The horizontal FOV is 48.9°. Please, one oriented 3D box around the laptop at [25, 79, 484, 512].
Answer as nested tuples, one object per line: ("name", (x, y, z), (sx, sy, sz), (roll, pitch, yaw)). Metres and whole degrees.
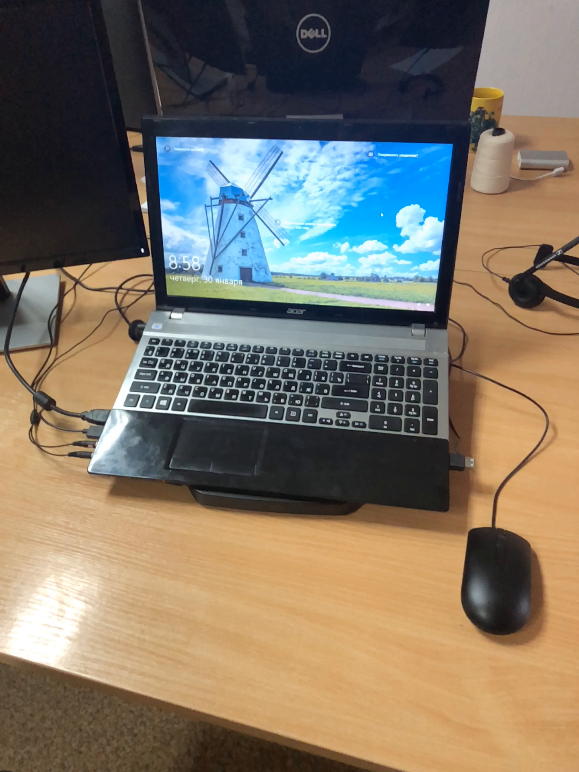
("laptop", (-0.008, -0.118, 0.683), (0.373, 0.211, 0.361), (5, 51, 8))
